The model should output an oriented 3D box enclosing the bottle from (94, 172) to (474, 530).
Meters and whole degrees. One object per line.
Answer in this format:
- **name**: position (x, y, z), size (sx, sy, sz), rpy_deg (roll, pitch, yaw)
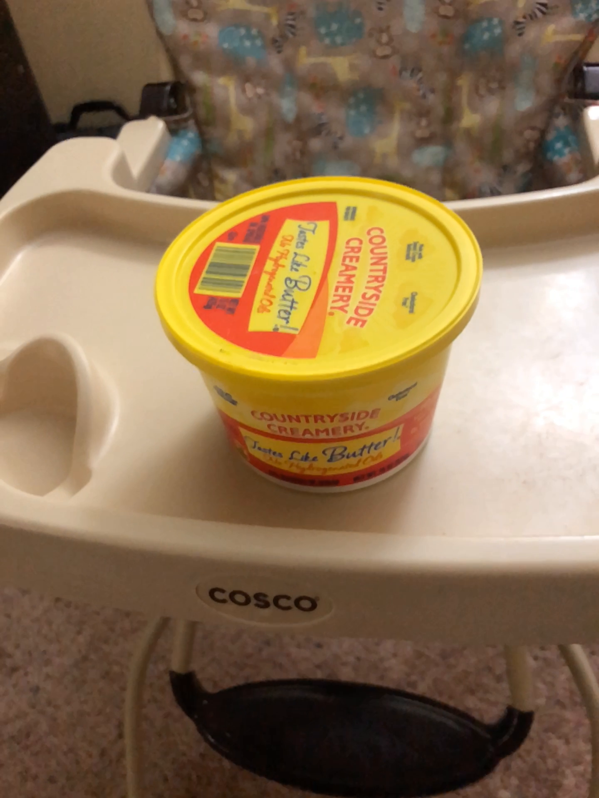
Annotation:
- **bottle**: position (0.005, -0.024, 0.280), size (0.120, 0.090, 0.110), rpy_deg (-4, 48, 4)
